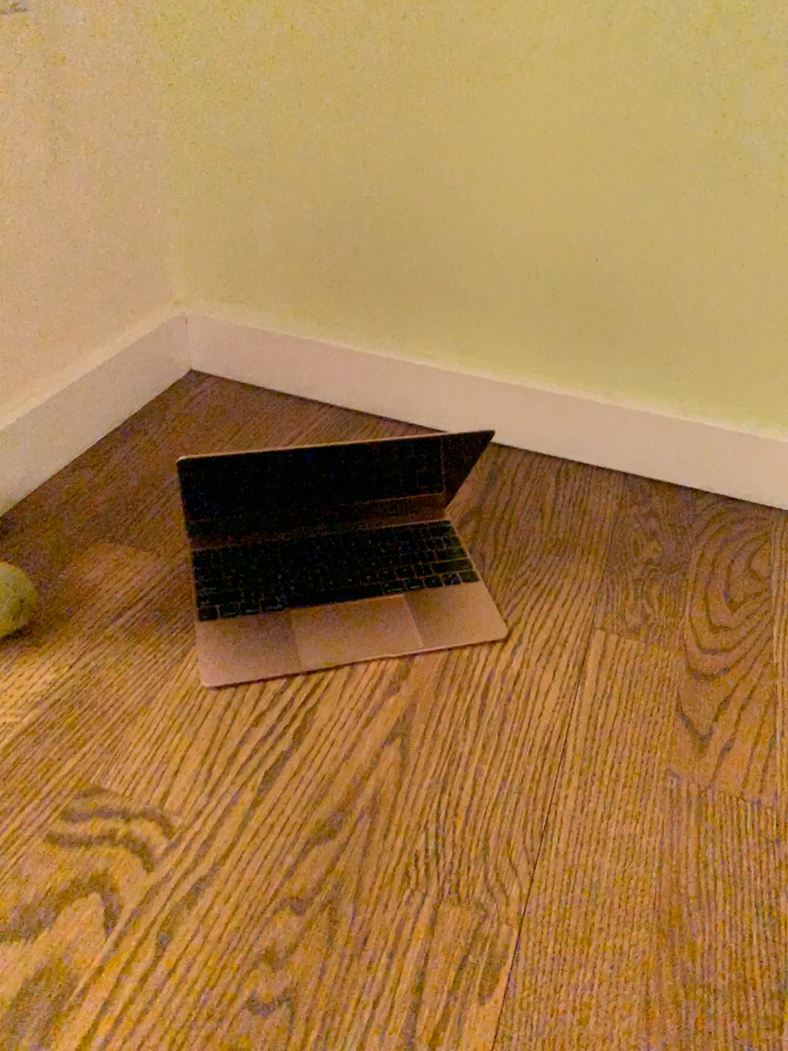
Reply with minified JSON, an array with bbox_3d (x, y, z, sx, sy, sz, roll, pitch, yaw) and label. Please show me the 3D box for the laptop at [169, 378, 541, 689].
[{"bbox_3d":[-0.049,-0.005,0.763,0.288,0.168,0.207,-7,39,-14],"label":"laptop"}]
